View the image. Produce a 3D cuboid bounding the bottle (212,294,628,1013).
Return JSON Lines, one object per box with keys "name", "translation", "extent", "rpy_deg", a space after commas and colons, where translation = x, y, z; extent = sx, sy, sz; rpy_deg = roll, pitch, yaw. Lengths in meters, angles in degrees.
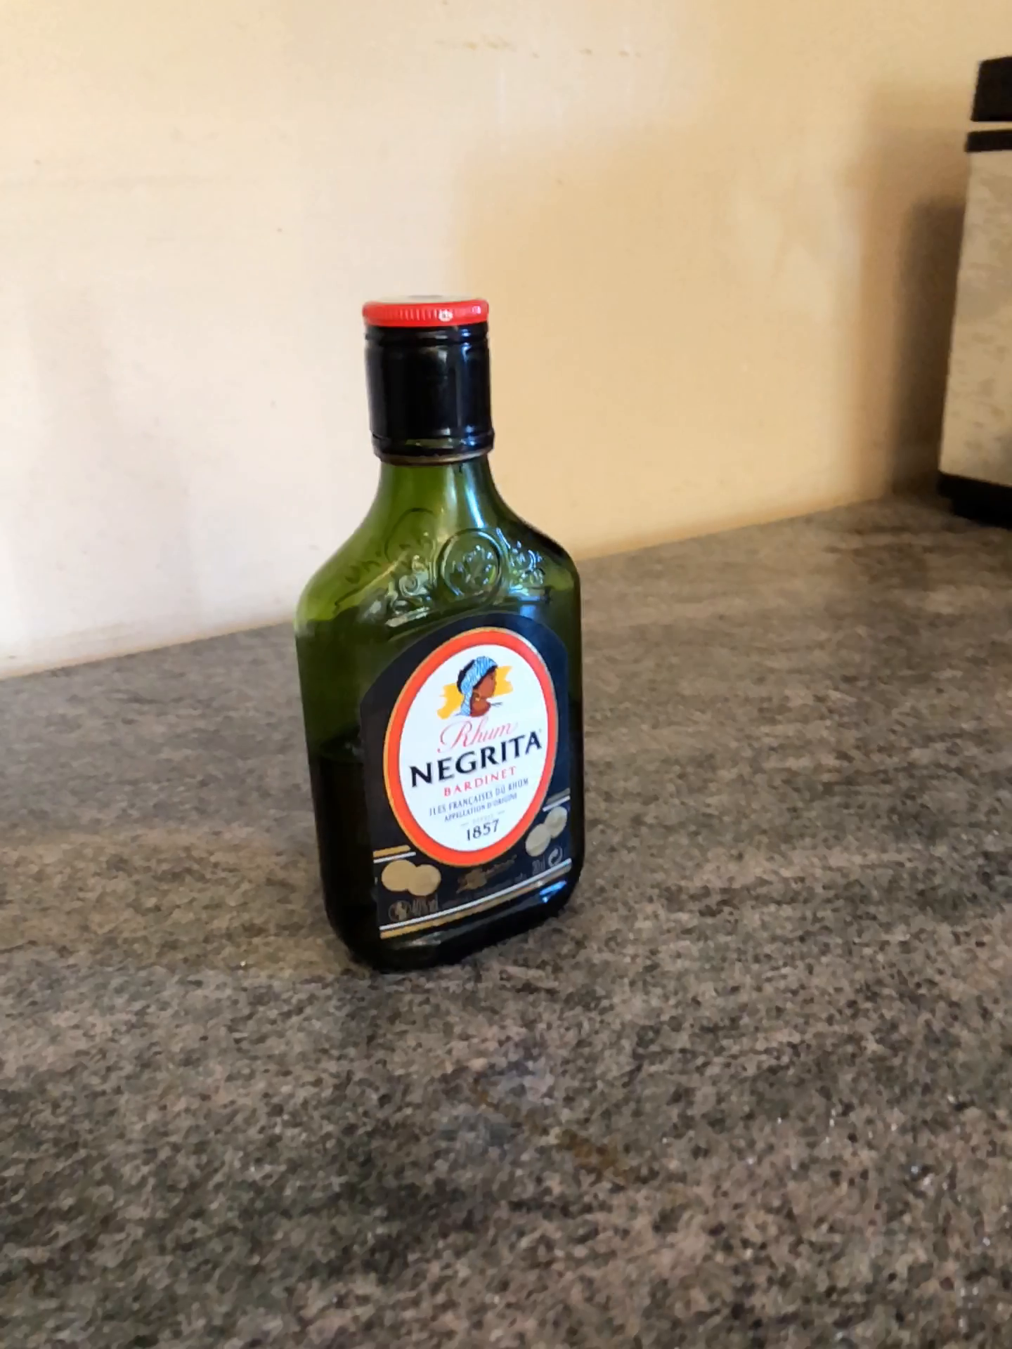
{"name": "bottle", "translation": [-0.017, -0.009, 0.281], "extent": [0.080, 0.159, 0.050], "rpy_deg": [-14, 24, -29]}
